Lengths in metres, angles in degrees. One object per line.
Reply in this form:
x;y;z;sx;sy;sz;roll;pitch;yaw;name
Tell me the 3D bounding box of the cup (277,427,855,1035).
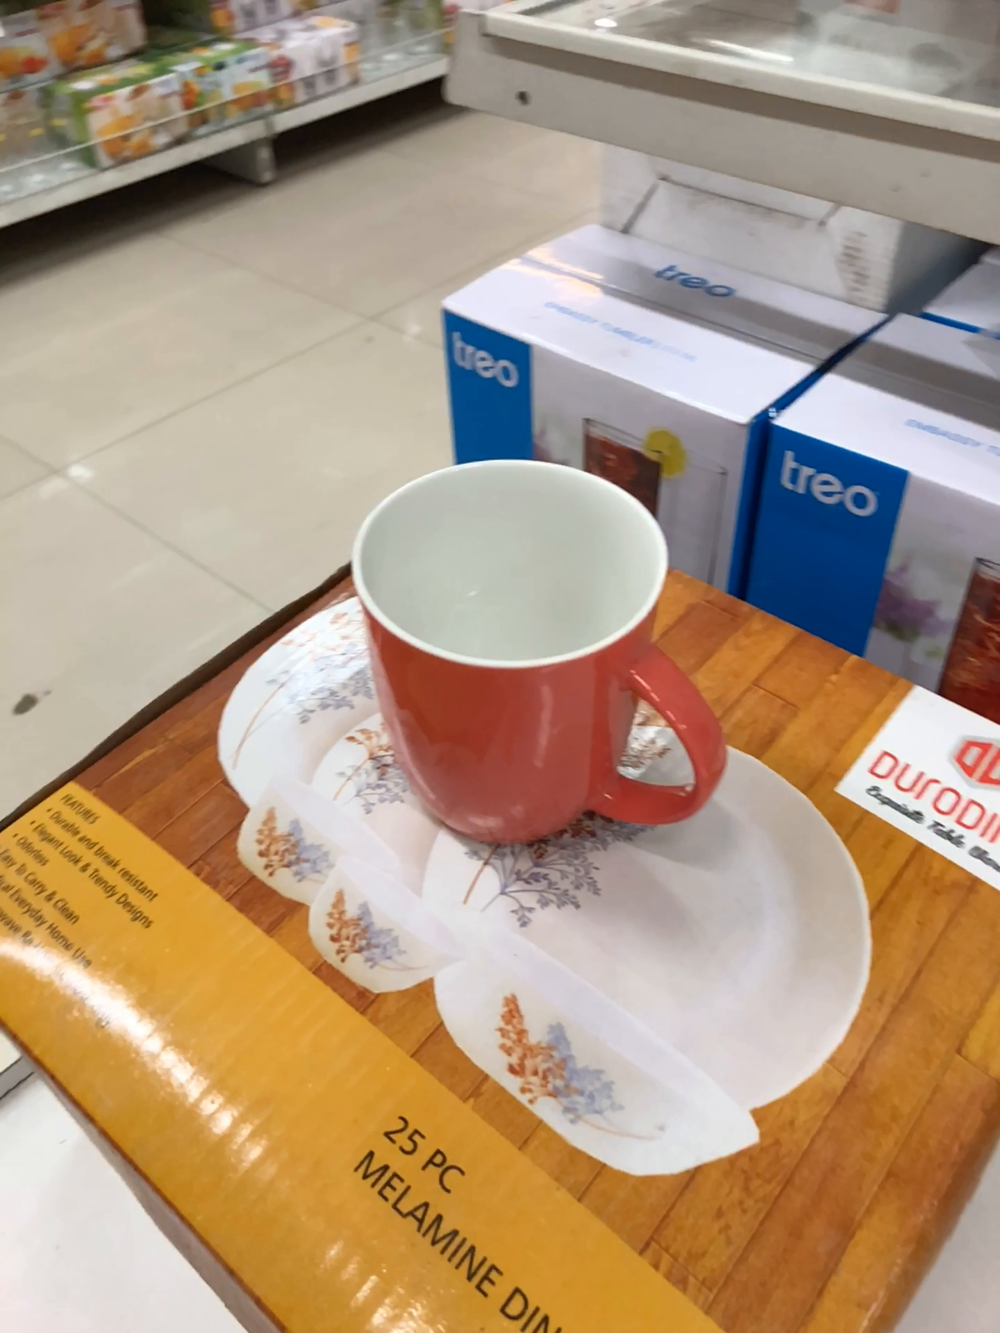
0.017;0.013;0.320;0.120;0.099;0.090;32;53;33;cup
